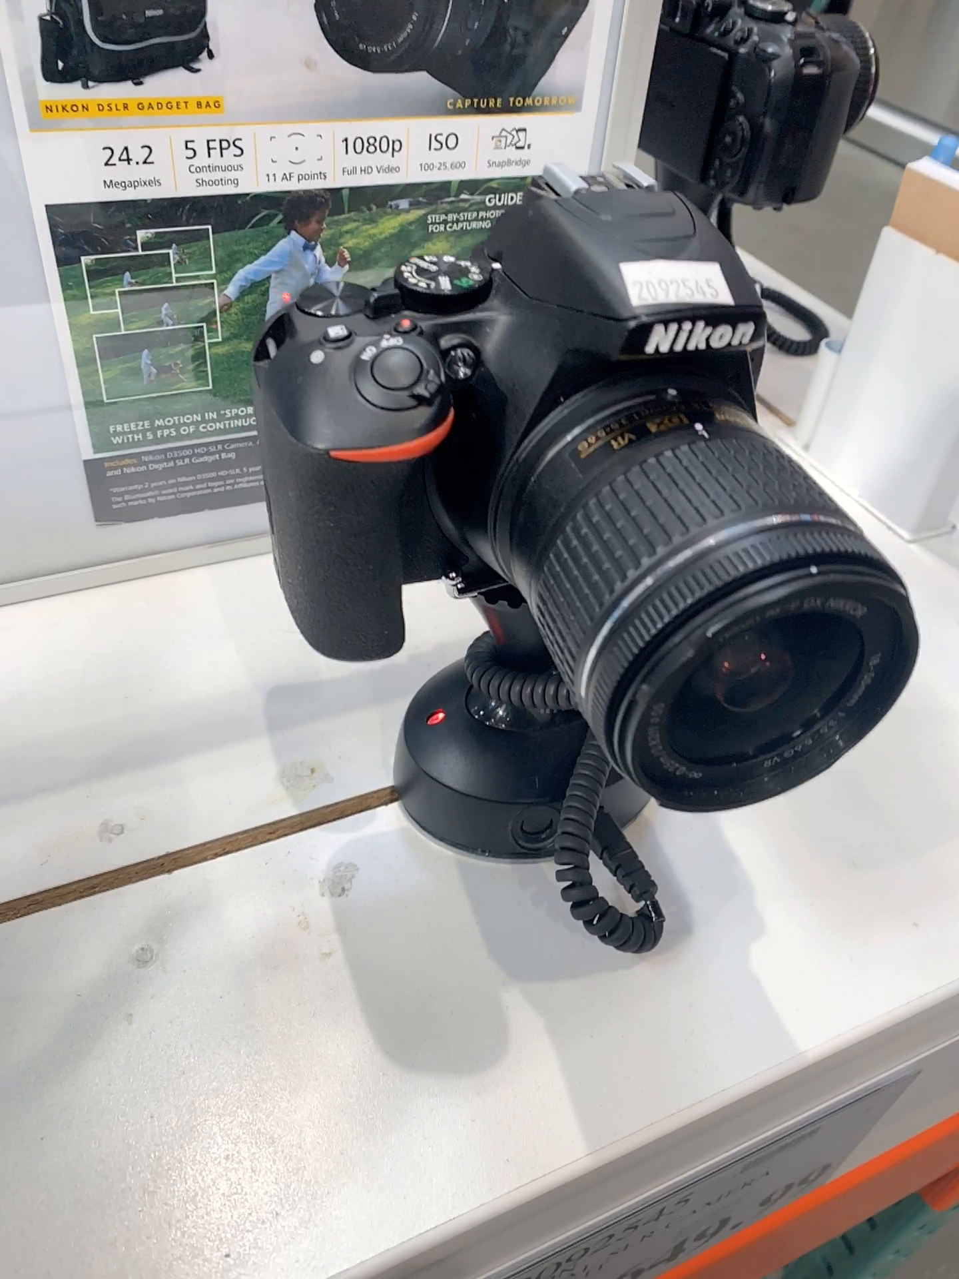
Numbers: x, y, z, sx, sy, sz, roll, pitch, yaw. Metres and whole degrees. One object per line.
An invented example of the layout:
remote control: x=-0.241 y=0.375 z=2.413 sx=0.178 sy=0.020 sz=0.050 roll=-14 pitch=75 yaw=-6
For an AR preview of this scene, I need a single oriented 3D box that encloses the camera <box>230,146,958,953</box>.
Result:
camera: x=0.022 y=-0.030 z=0.208 sx=0.116 sy=0.099 sz=0.121 roll=-11 pitch=44 yaw=-18
